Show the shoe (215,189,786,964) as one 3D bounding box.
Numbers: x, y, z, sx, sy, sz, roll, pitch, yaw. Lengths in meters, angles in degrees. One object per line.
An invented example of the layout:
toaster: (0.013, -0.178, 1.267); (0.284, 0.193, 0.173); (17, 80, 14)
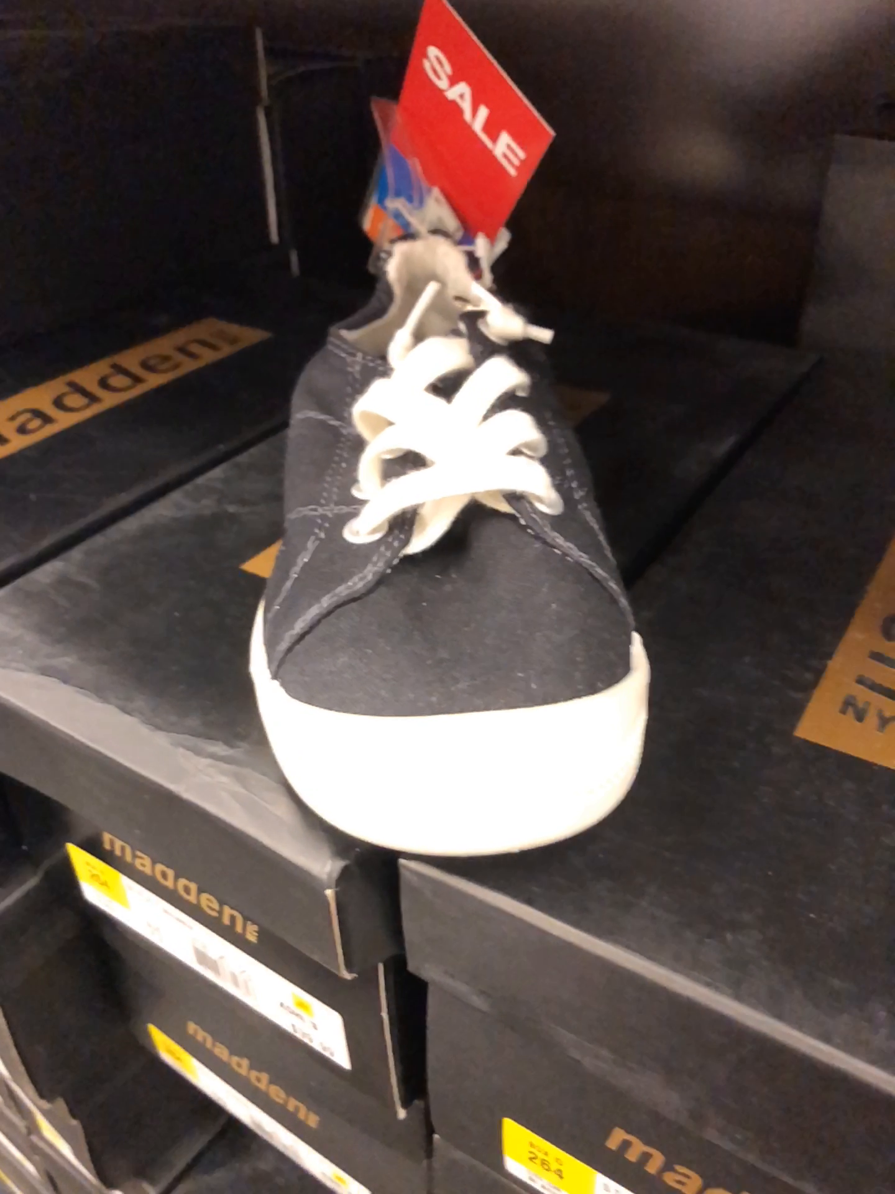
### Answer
shoe: (-0.005, -0.035, 0.259); (0.080, 0.082, 0.235); (-4, 34, -5)
